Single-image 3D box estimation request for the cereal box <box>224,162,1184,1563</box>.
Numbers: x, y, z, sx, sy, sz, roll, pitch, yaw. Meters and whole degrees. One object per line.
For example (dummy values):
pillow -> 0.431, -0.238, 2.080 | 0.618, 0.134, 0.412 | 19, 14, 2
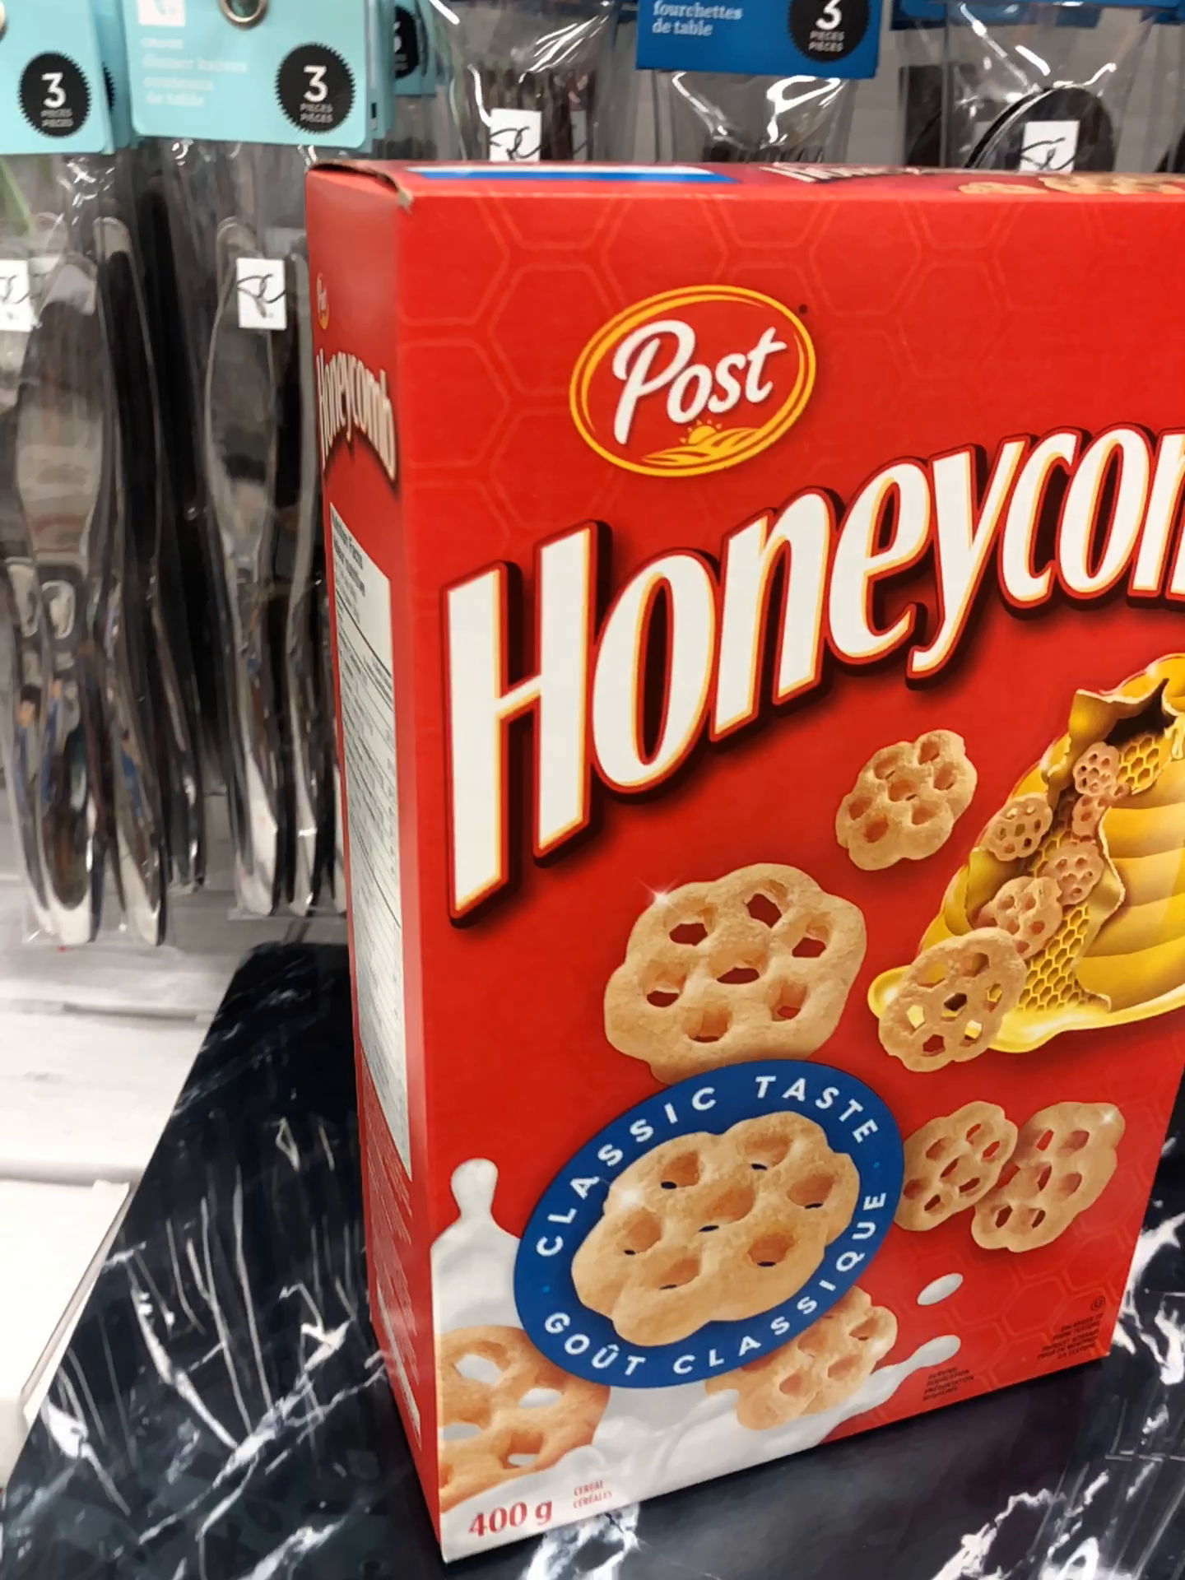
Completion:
cereal box -> 0.041, 0.020, 0.309 | 0.210, 0.299, 0.070 | -8, 27, -17
